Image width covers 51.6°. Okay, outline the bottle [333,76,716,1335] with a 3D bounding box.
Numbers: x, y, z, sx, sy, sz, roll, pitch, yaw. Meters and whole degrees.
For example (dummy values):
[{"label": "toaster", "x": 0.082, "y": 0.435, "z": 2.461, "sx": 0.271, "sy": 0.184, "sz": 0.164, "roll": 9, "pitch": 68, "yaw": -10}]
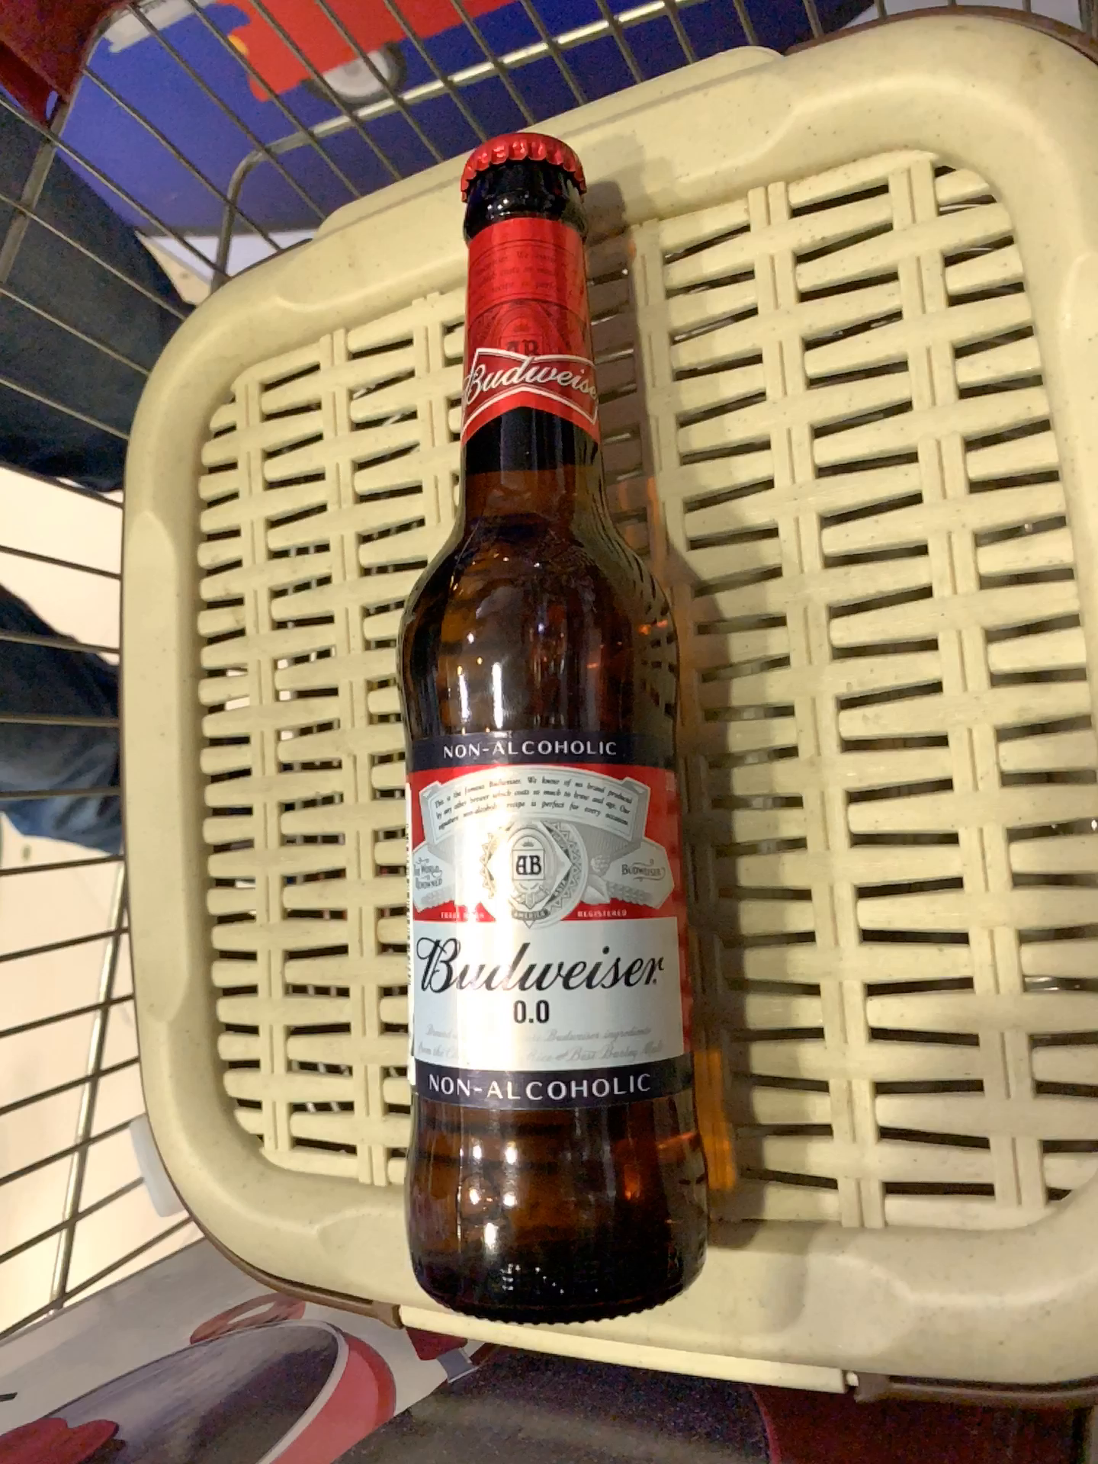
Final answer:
[{"label": "bottle", "x": -0.003, "y": -0.006, "z": 0.231, "sx": 0.060, "sy": 0.060, "sz": 0.220, "roll": -3, "pitch": 84, "yaw": 10}]
